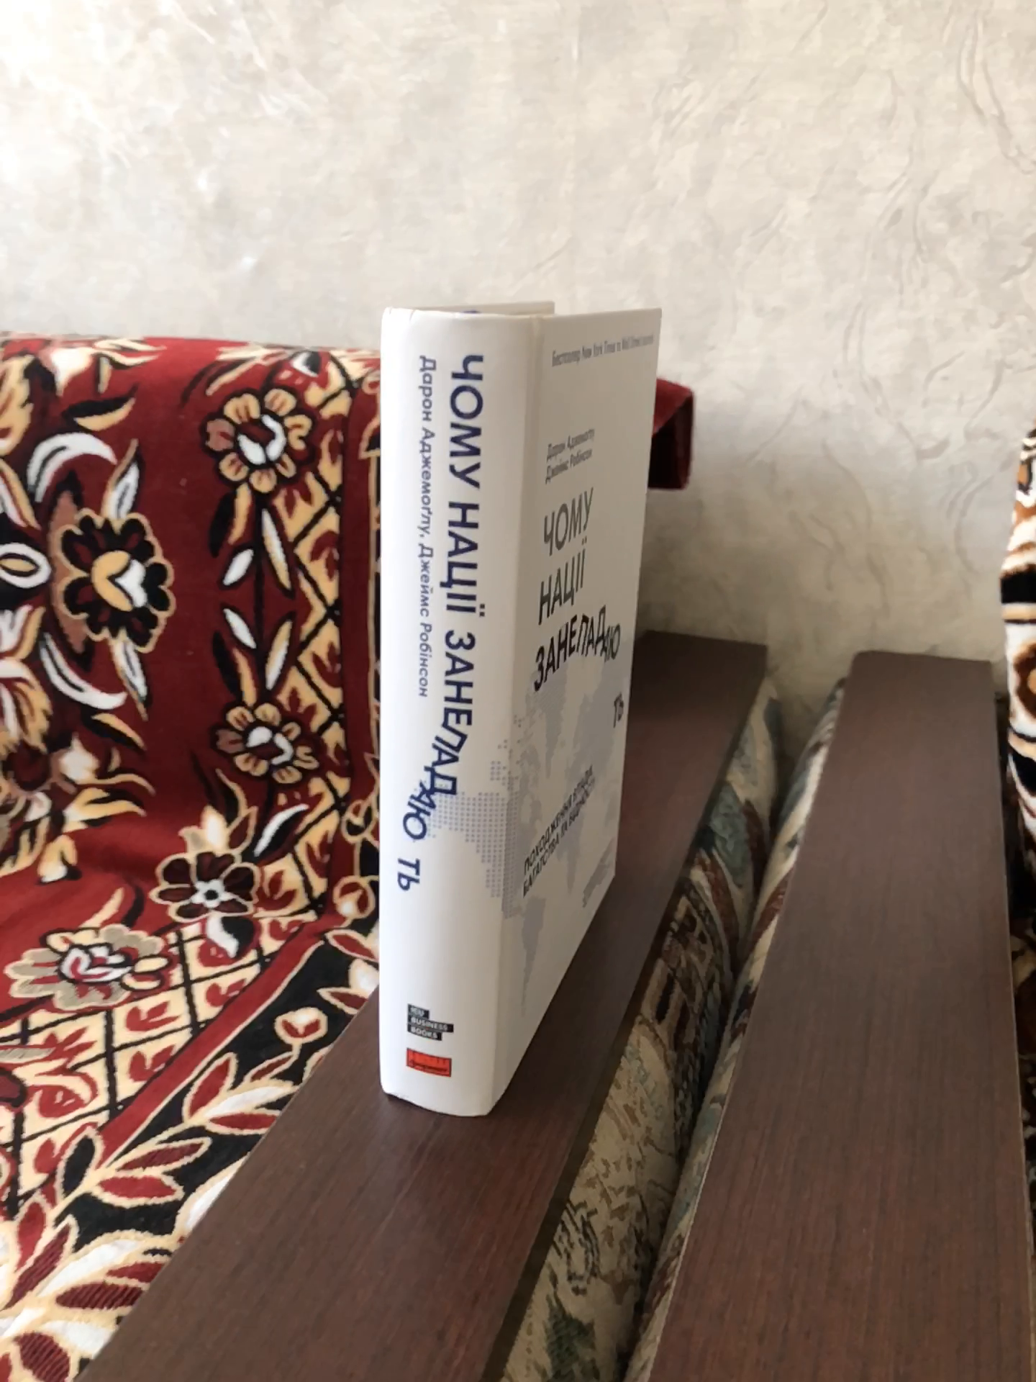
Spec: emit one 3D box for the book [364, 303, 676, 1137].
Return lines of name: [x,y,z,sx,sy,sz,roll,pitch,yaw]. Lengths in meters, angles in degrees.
book: [0.005,-0.005,0.351,0.042,0.212,0.151,8,20,16]
